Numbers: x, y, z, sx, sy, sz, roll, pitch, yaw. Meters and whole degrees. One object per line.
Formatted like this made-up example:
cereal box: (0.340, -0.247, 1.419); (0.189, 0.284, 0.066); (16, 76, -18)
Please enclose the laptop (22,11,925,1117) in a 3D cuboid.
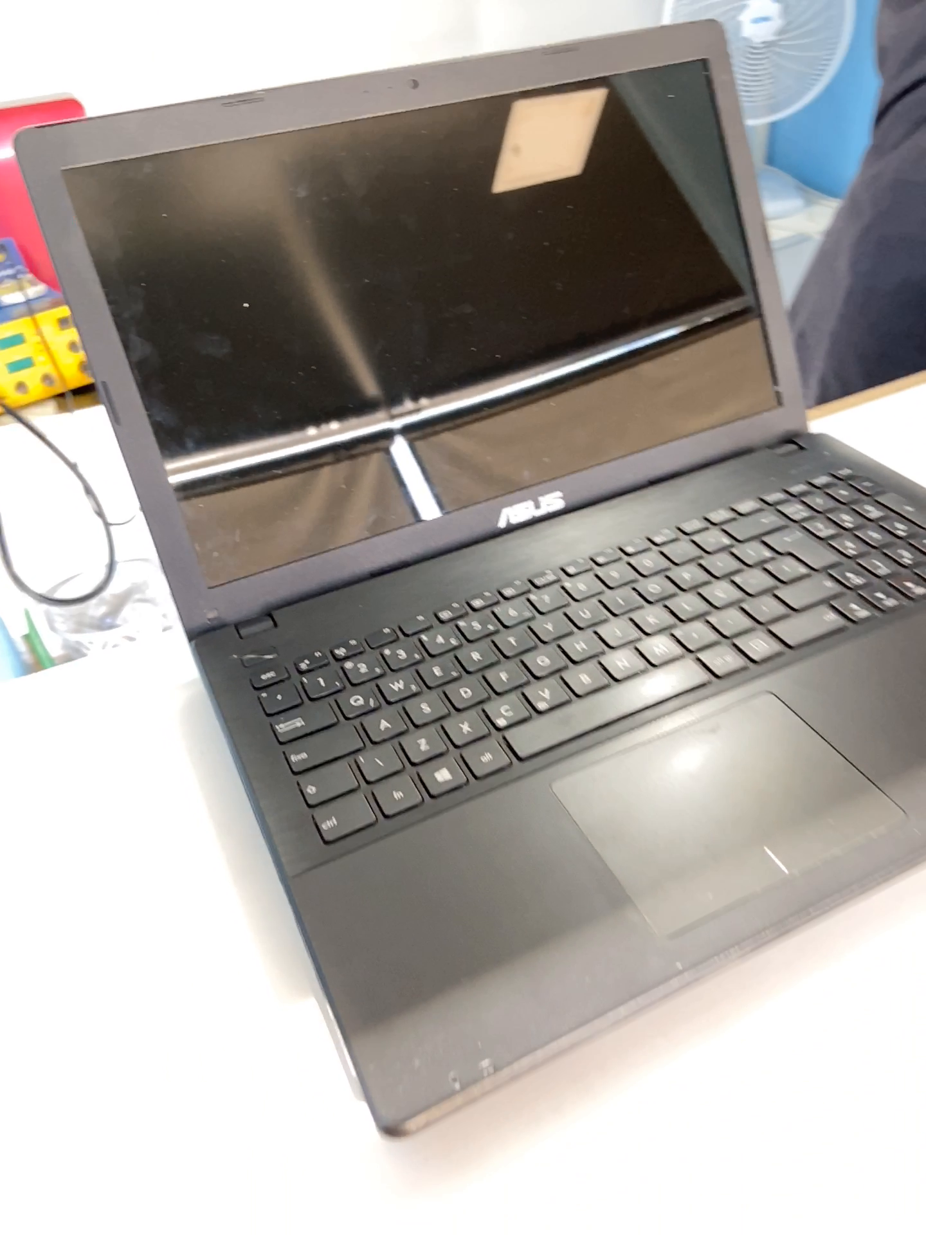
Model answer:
laptop: (0.058, -0.096, 0.393); (0.368, 0.200, 0.363); (-20, 39, -16)
